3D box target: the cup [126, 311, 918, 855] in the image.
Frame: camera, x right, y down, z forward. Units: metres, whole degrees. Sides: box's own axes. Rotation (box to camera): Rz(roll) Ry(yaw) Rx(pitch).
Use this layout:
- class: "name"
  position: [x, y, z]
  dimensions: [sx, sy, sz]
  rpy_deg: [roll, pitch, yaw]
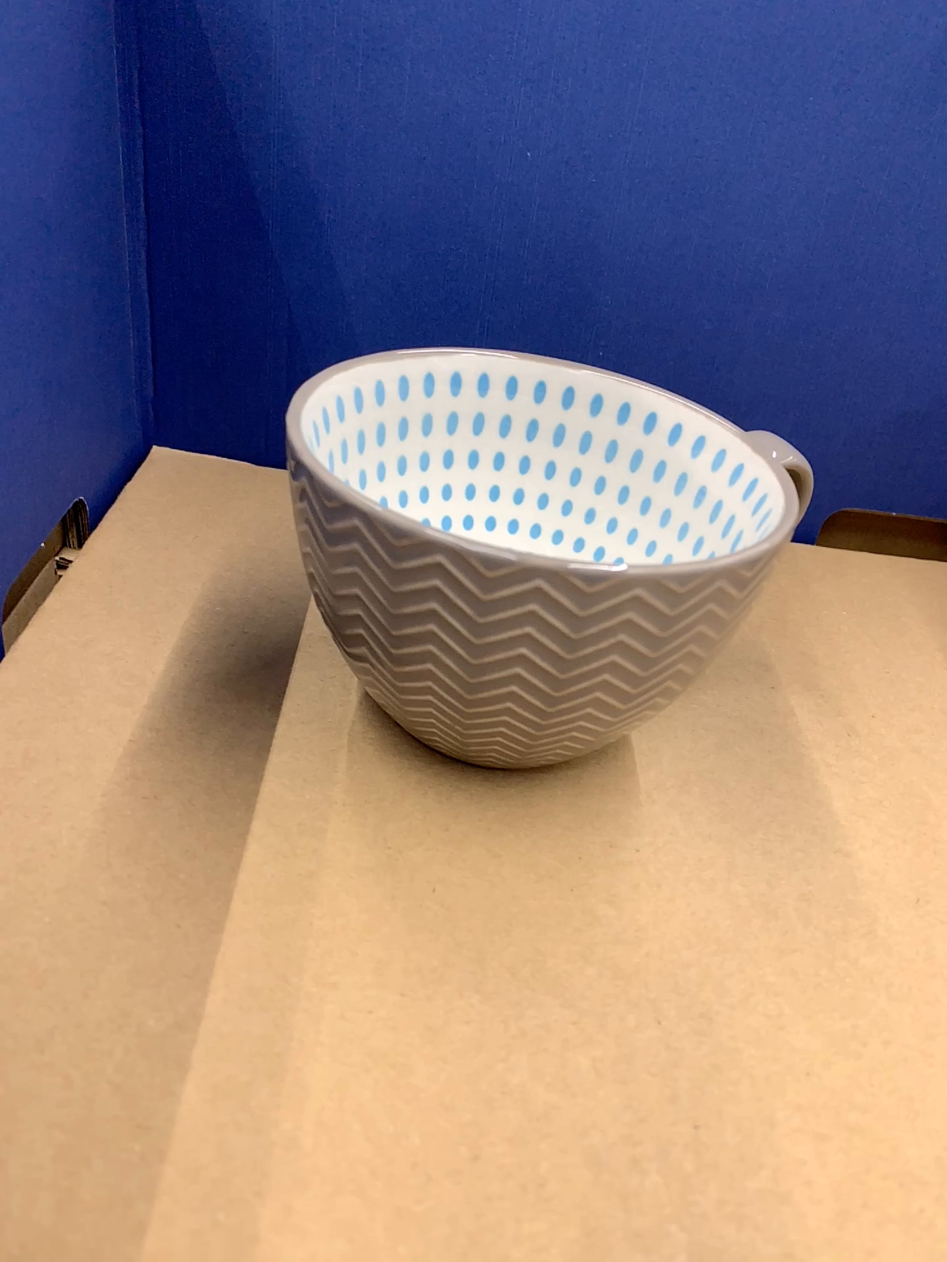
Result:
- class: "cup"
  position: [0.012, -0.029, 0.240]
  dimensions: [0.150, 0.058, 0.109]
  rpy_deg: [-18, 41, -36]
